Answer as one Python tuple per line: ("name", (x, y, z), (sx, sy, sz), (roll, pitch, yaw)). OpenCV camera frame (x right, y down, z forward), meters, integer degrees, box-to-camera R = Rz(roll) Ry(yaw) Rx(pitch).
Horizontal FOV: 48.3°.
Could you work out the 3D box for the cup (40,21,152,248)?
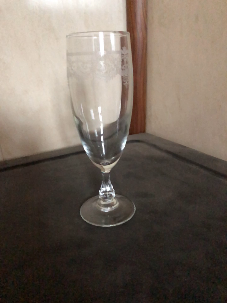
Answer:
("cup", (-0.008, -0.014, 0.221), (0.060, 0.169, 0.060), (-3, 20, 1))
